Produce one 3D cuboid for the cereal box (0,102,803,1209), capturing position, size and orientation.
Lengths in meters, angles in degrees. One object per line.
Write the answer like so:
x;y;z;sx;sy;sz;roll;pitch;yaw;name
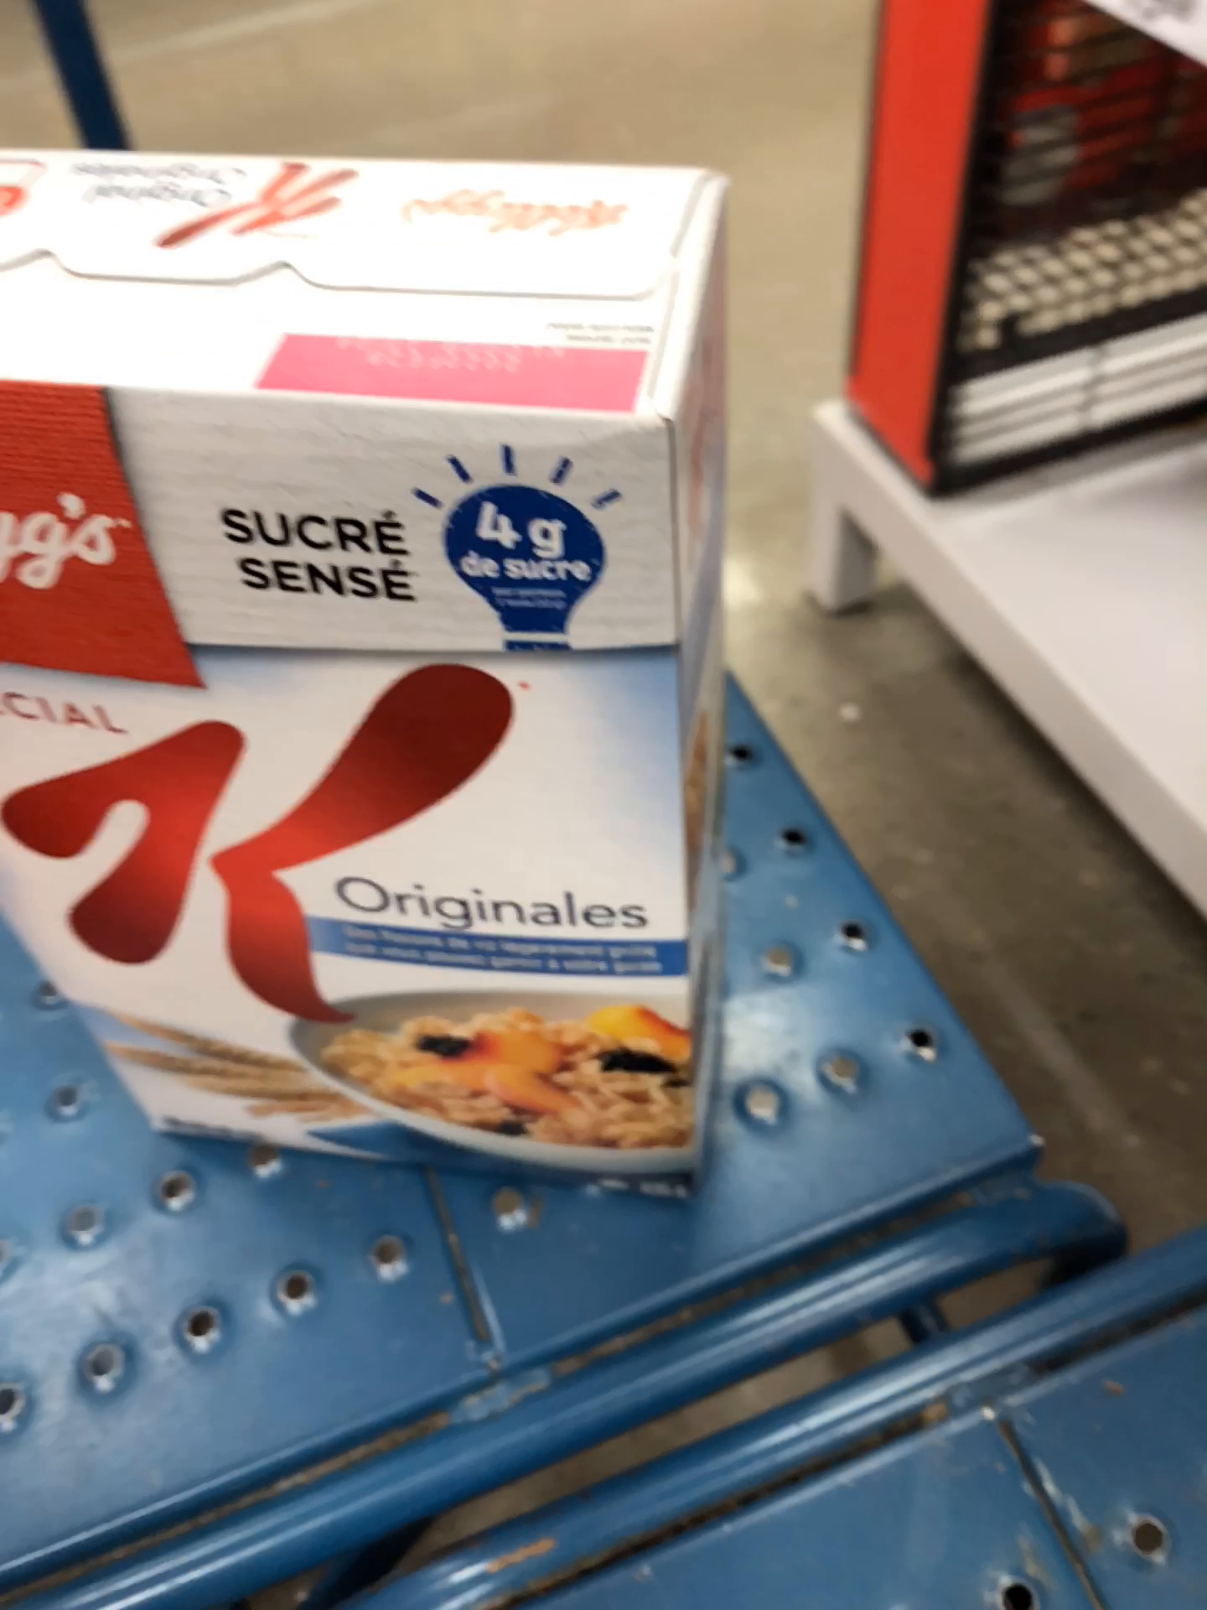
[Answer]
-0.063;-0.011;0.355;0.210;0.299;0.080;5;50;10;cereal box
